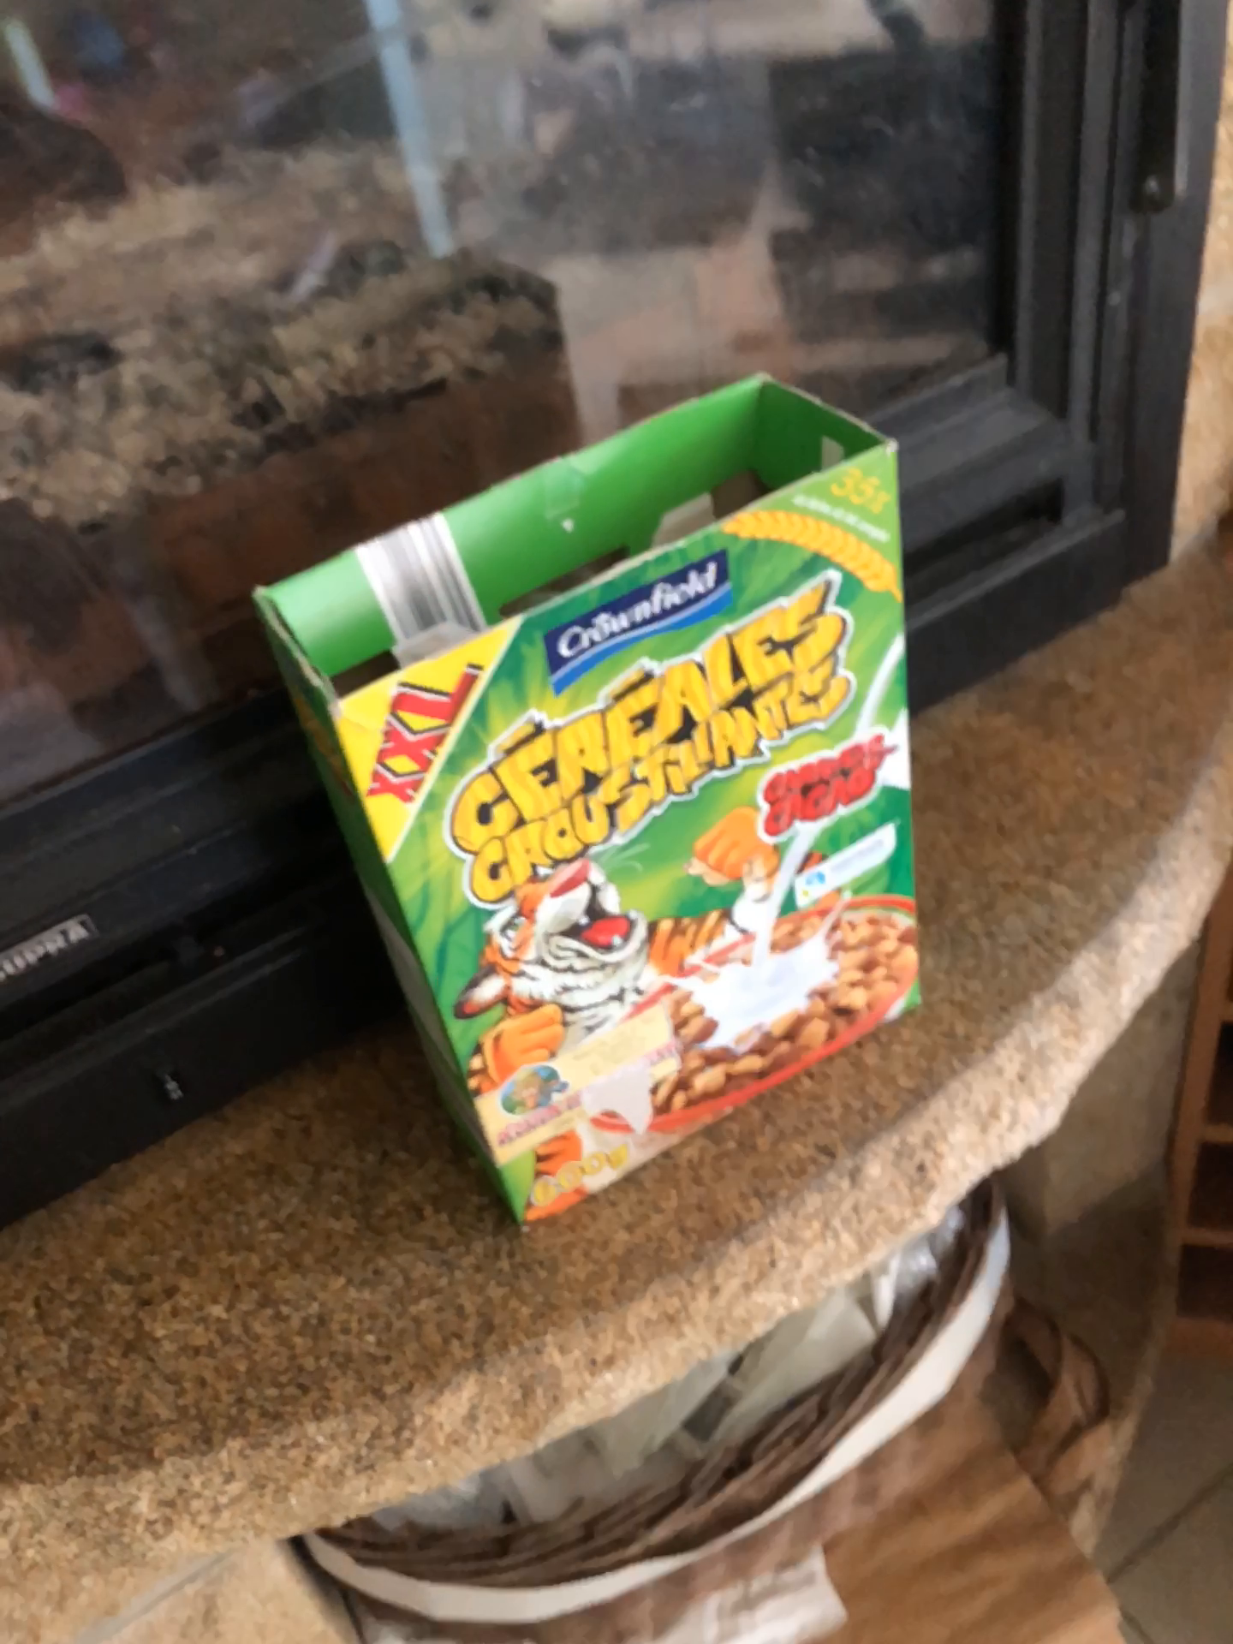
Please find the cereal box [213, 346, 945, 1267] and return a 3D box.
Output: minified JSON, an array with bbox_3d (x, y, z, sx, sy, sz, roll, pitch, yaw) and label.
[{"bbox_3d":[0.009,0.001,0.489,0.201,0.258,0.090,-28,42,-18],"label":"cereal box"}]
